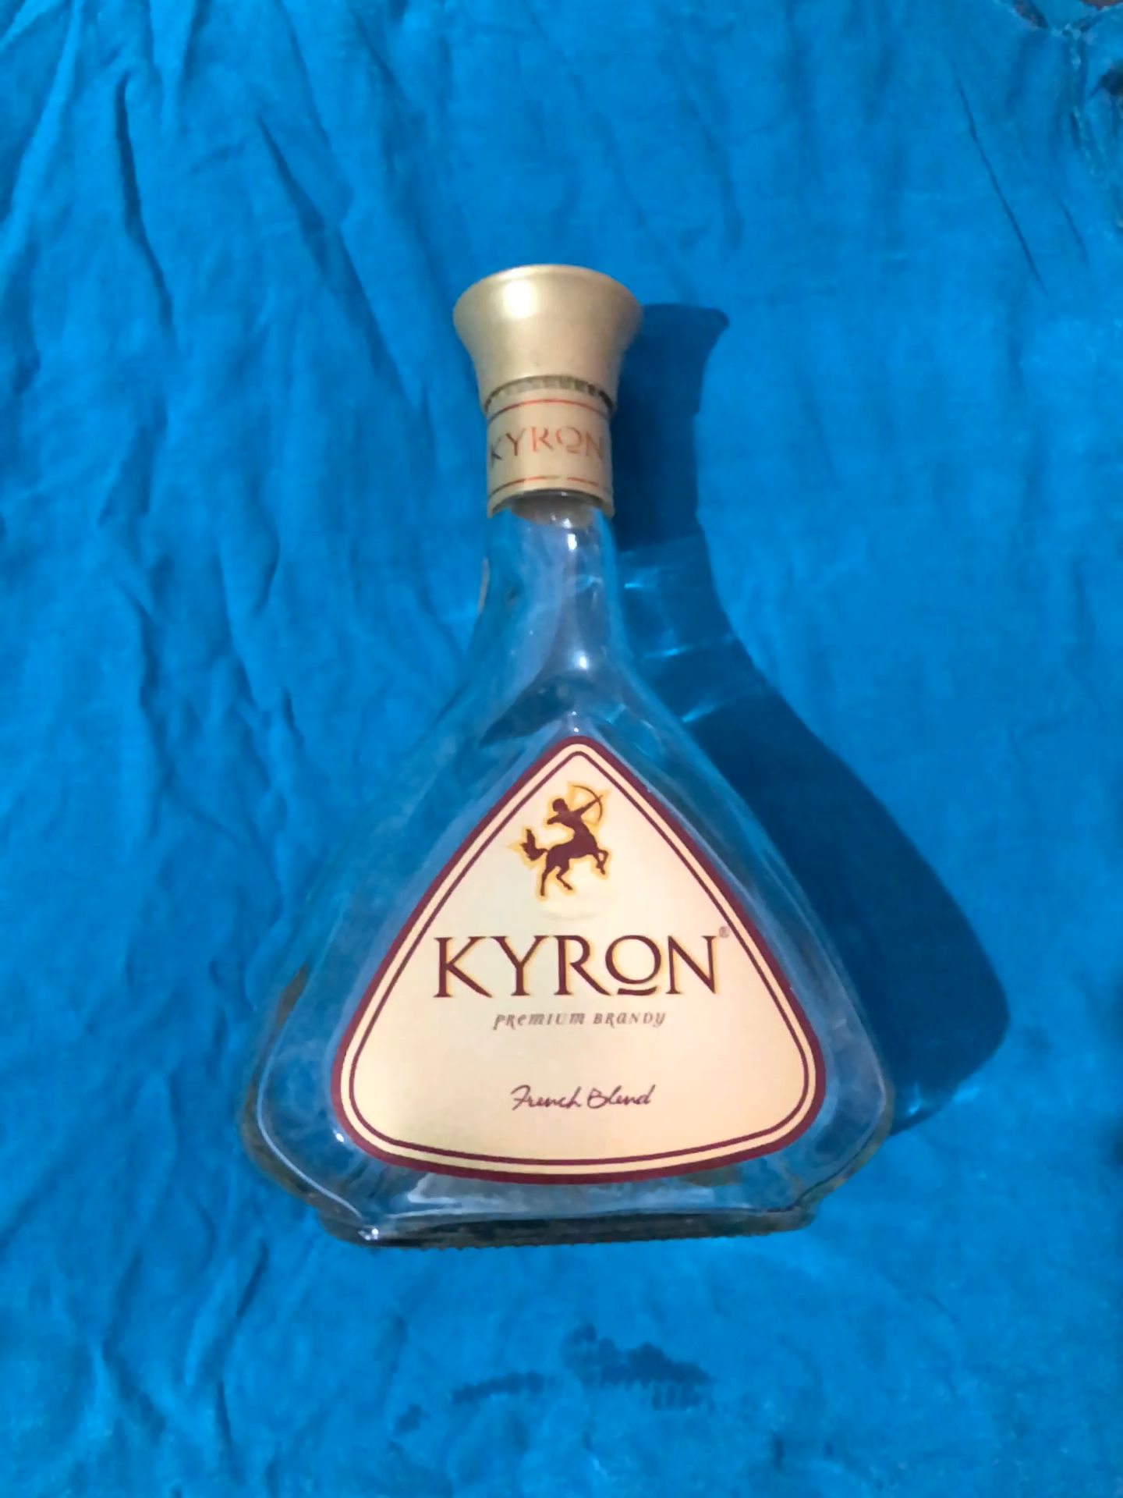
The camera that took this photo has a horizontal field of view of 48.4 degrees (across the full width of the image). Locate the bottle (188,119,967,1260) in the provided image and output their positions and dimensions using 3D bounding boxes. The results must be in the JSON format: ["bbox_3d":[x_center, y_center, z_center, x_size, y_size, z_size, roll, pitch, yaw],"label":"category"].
[{"bbox_3d":[0.000,-0.016,0.299,0.150,0.080,0.240,-1,80,-2],"label":"bottle"}]
